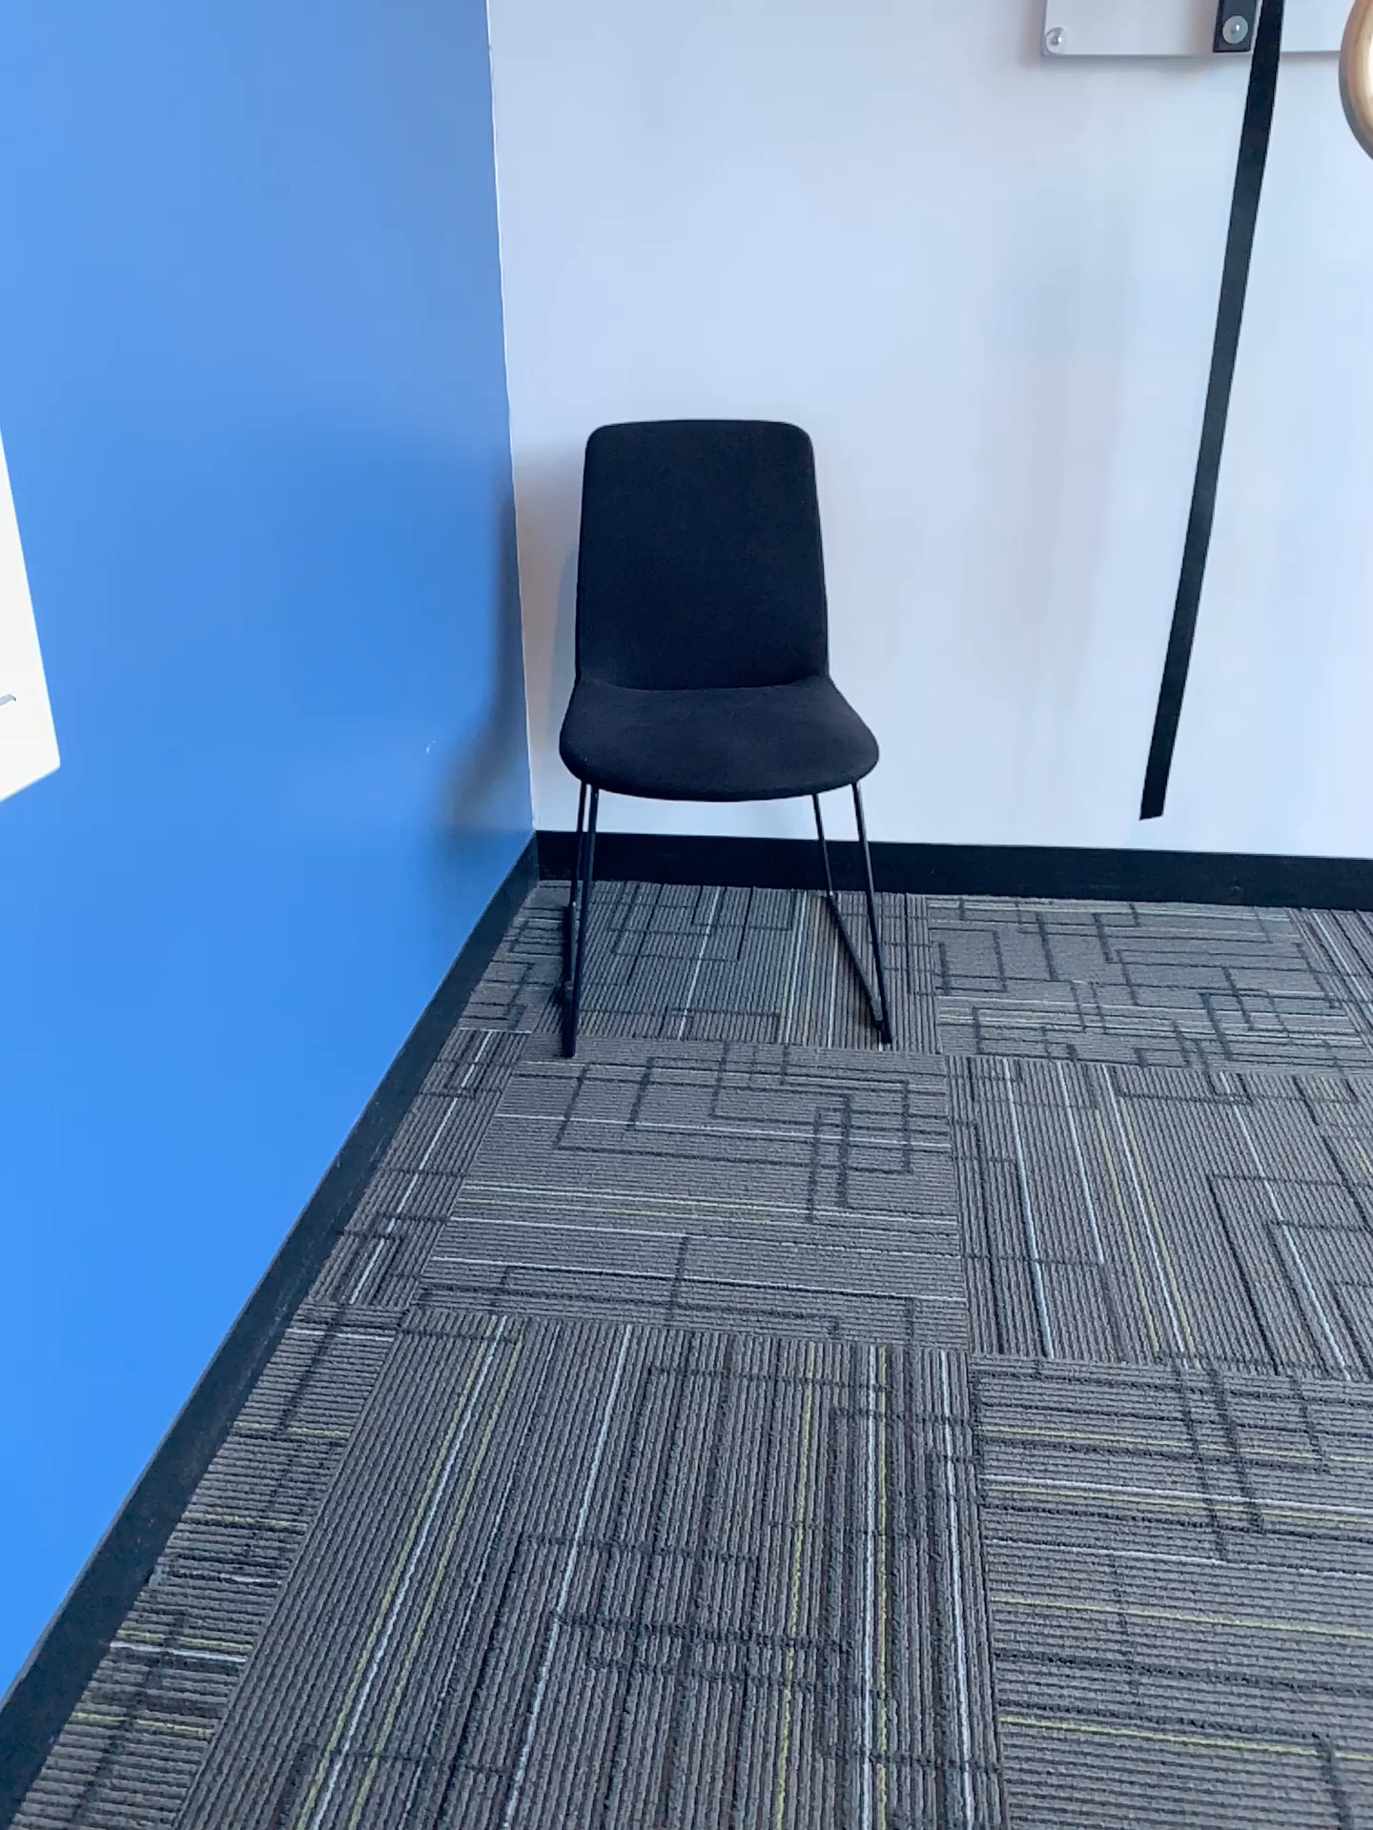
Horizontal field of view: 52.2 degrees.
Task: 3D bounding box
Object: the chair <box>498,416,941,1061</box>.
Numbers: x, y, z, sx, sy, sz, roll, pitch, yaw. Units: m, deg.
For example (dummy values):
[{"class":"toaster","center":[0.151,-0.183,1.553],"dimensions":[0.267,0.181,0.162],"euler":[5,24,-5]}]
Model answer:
[{"class":"chair","center":[0.019,-0.280,1.988],"dimensions":[0.500,0.756,0.583],"euler":[-2,24,-4]}]
